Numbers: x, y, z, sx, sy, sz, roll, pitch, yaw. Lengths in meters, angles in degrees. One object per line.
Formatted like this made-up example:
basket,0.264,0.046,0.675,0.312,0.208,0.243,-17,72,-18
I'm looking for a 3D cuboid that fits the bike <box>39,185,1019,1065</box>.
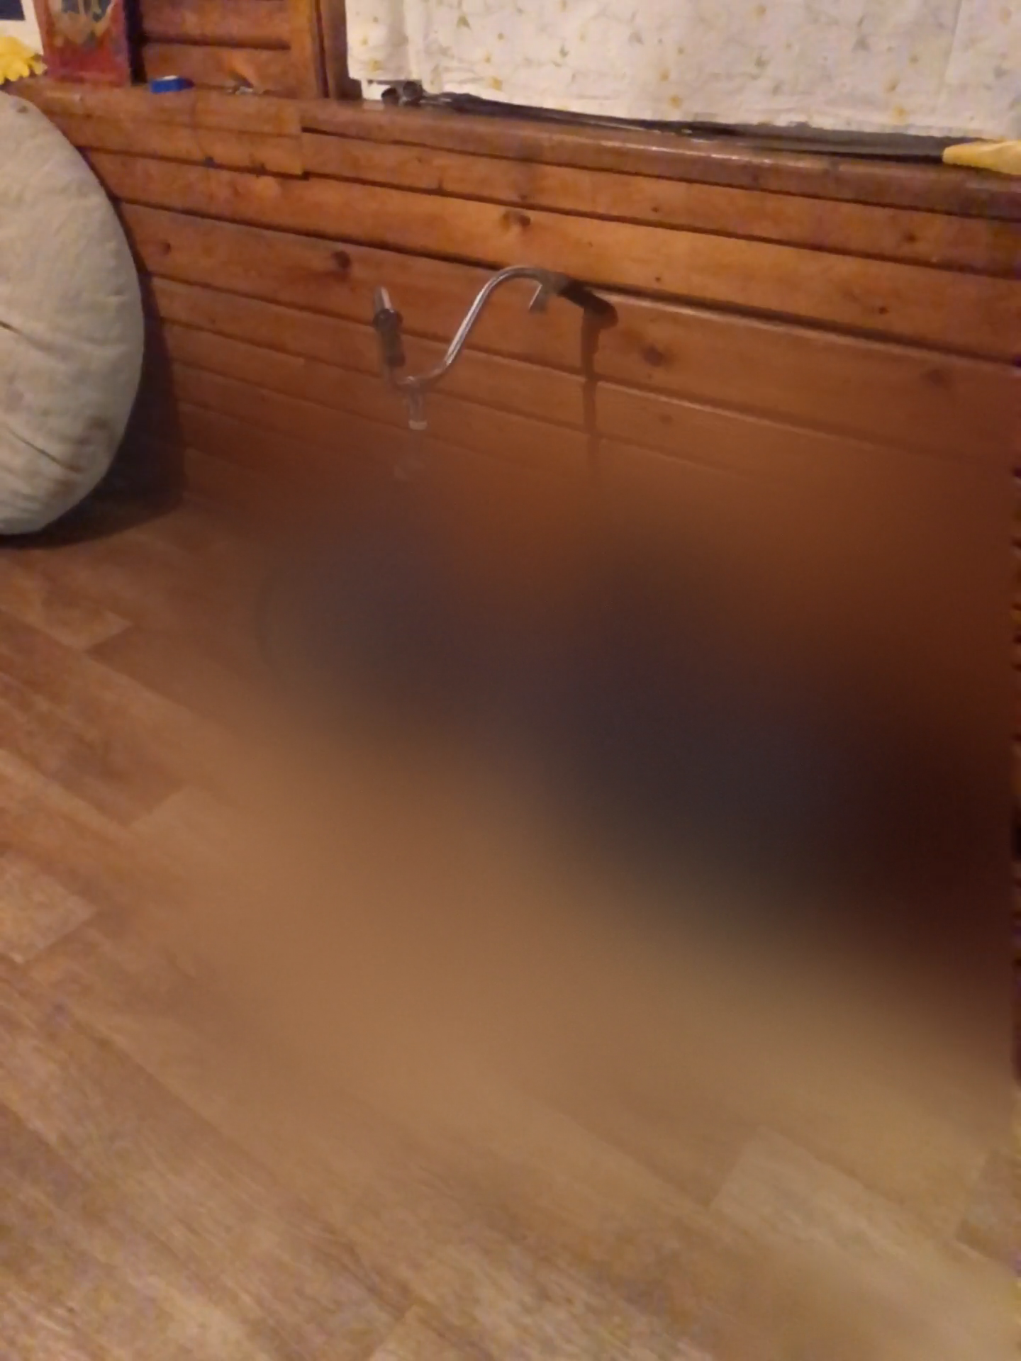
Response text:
bike,0.011,-0.159,1.503,0.959,0.697,0.595,26,43,31
